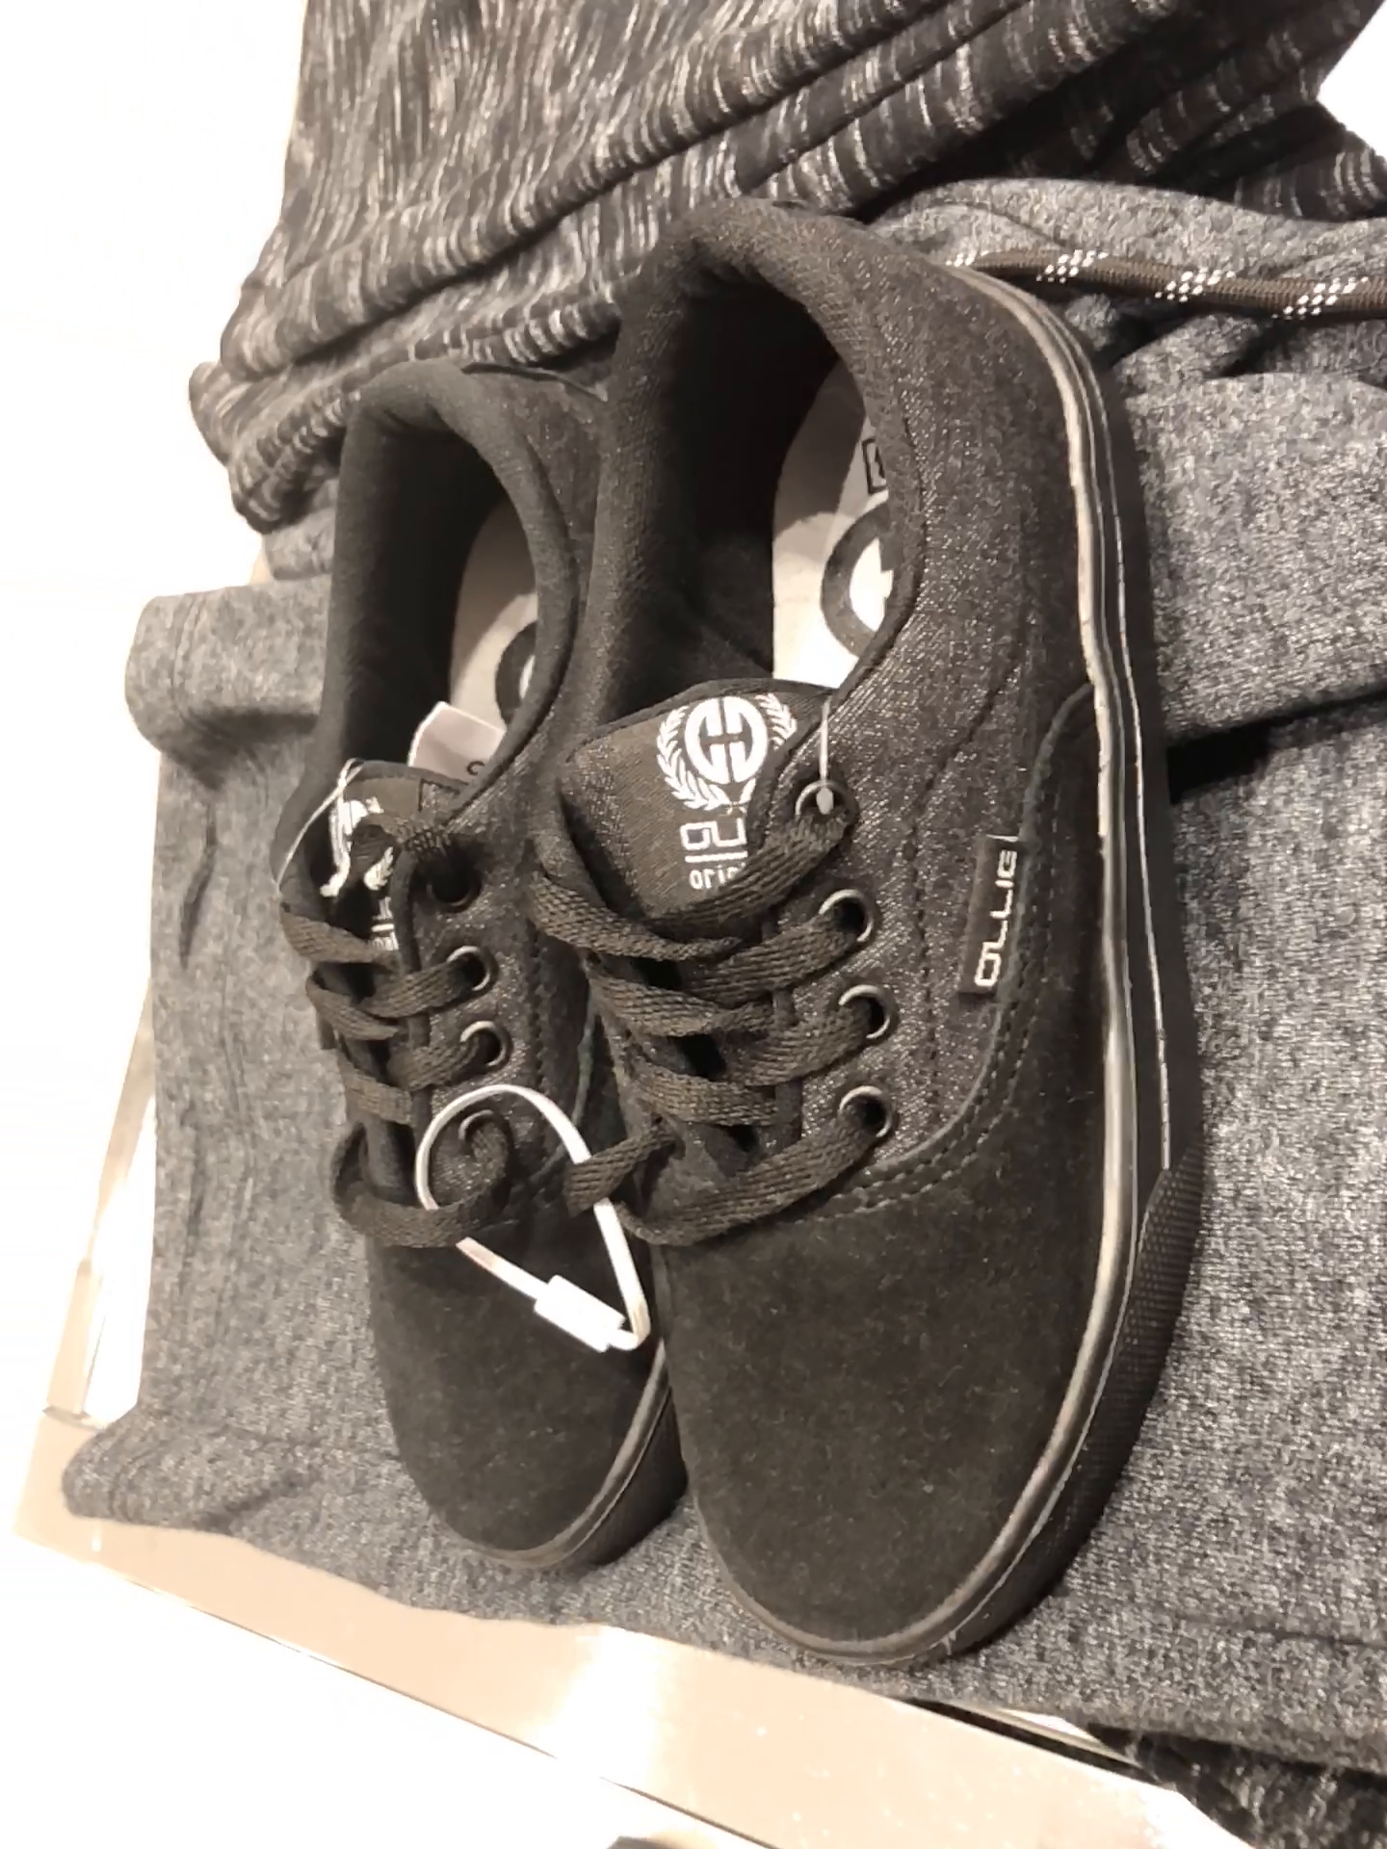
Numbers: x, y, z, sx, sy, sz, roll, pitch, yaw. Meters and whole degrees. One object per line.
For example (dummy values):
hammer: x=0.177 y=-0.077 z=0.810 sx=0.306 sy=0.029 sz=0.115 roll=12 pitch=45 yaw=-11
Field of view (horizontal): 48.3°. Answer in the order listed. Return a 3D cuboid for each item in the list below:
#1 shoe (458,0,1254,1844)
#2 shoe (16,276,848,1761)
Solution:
shoe: x=0.033 y=-0.004 z=0.256 sx=0.090 sy=0.080 sz=0.240 roll=-1 pitch=80 yaw=34
shoe: x=-0.043 y=0.012 z=0.286 sx=0.090 sy=0.080 sz=0.220 roll=3 pitch=83 yaw=35
